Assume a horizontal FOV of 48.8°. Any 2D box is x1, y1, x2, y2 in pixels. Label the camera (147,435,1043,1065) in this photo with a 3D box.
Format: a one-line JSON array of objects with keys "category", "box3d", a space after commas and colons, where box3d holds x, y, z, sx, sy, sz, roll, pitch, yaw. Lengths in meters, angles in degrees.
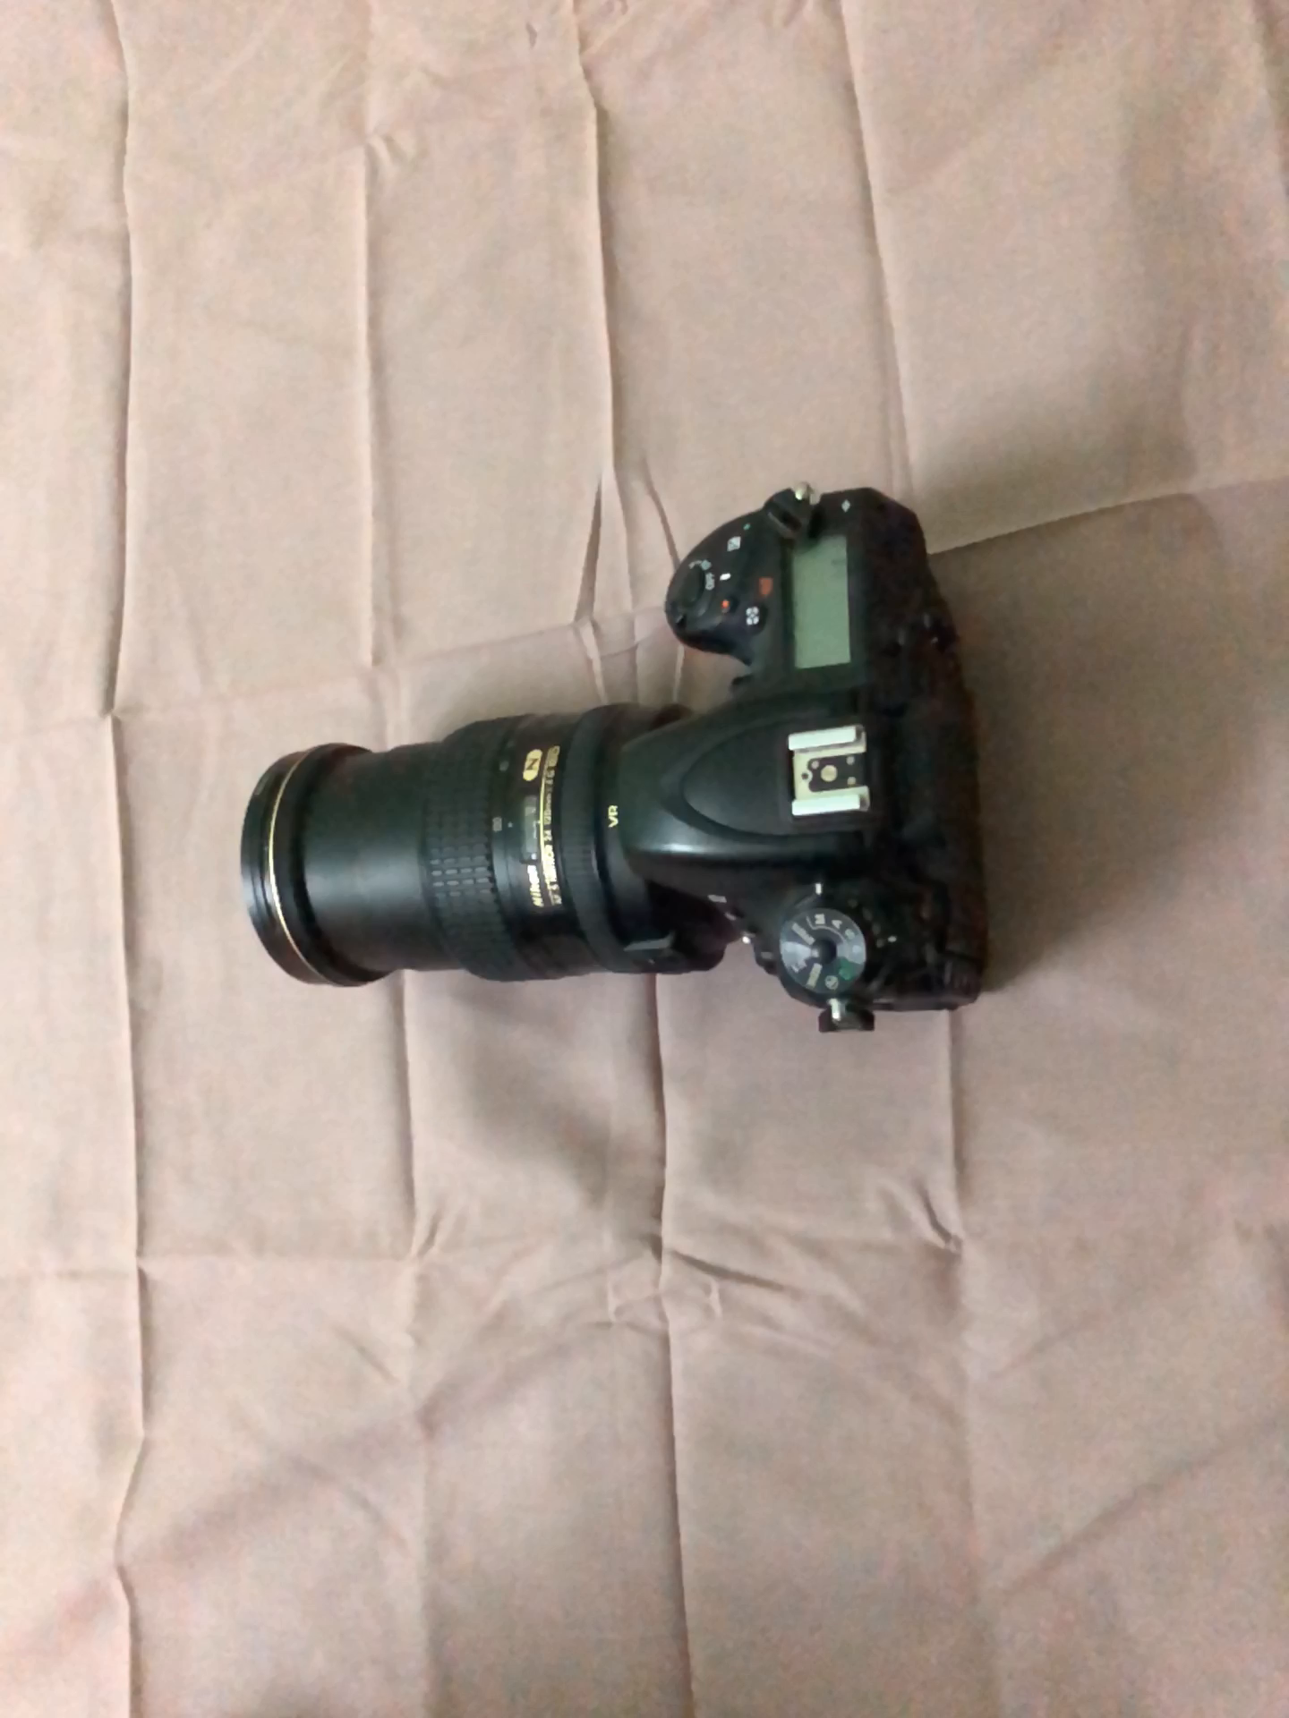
[{"category": "camera", "box3d": [-0.014, -0.014, 0.418, 0.232, 0.110, 0.139, -6, 80, 22]}]
